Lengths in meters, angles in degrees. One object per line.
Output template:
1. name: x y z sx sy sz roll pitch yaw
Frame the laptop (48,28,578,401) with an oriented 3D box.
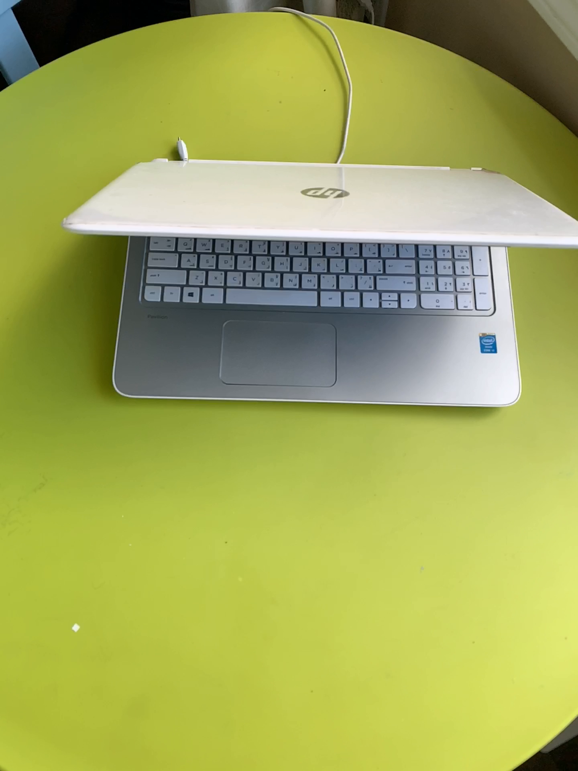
1. laptop: 0.030 -0.132 0.498 0.367 0.163 0.243 2 71 -1
